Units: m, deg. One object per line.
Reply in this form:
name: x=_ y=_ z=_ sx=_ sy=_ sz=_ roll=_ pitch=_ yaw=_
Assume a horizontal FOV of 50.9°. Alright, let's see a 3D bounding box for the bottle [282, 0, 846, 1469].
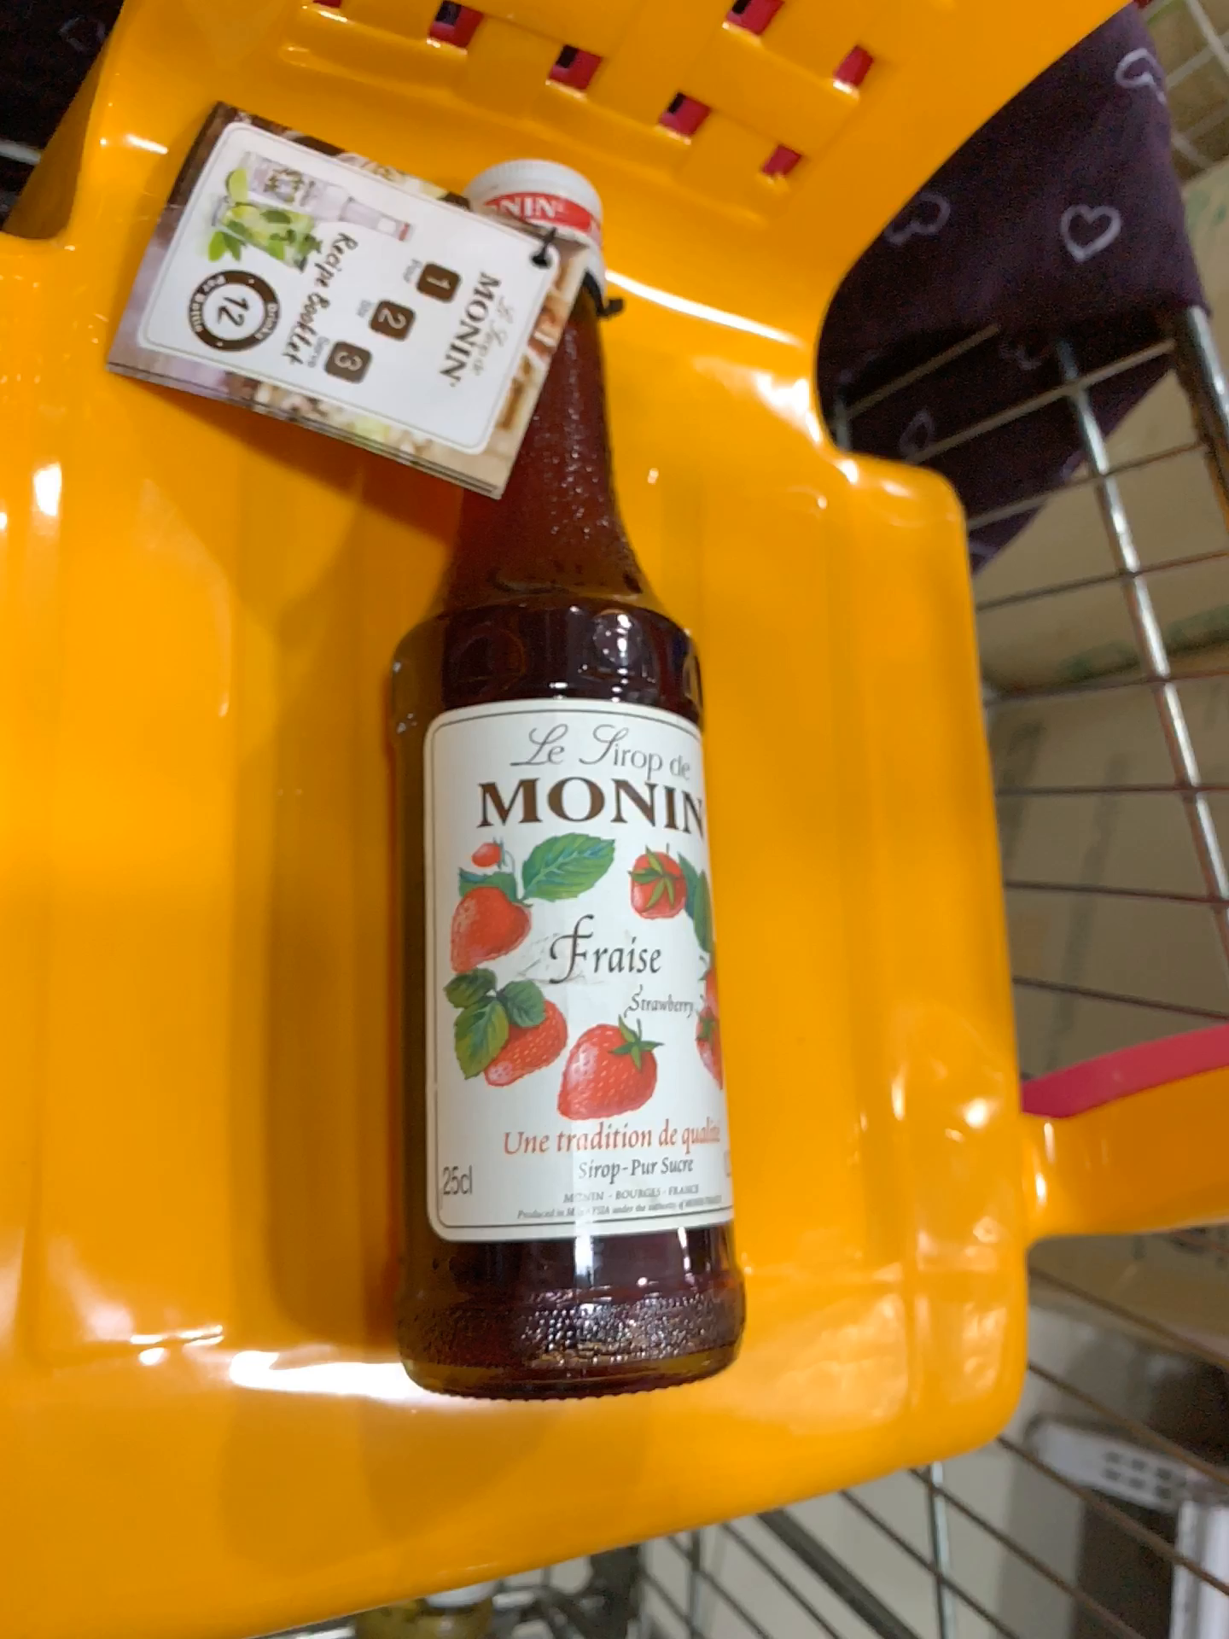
bottle: x=-0.015 y=-0.024 z=0.220 sx=0.060 sy=0.060 sz=0.230 roll=7 pitch=70 yaw=-30
